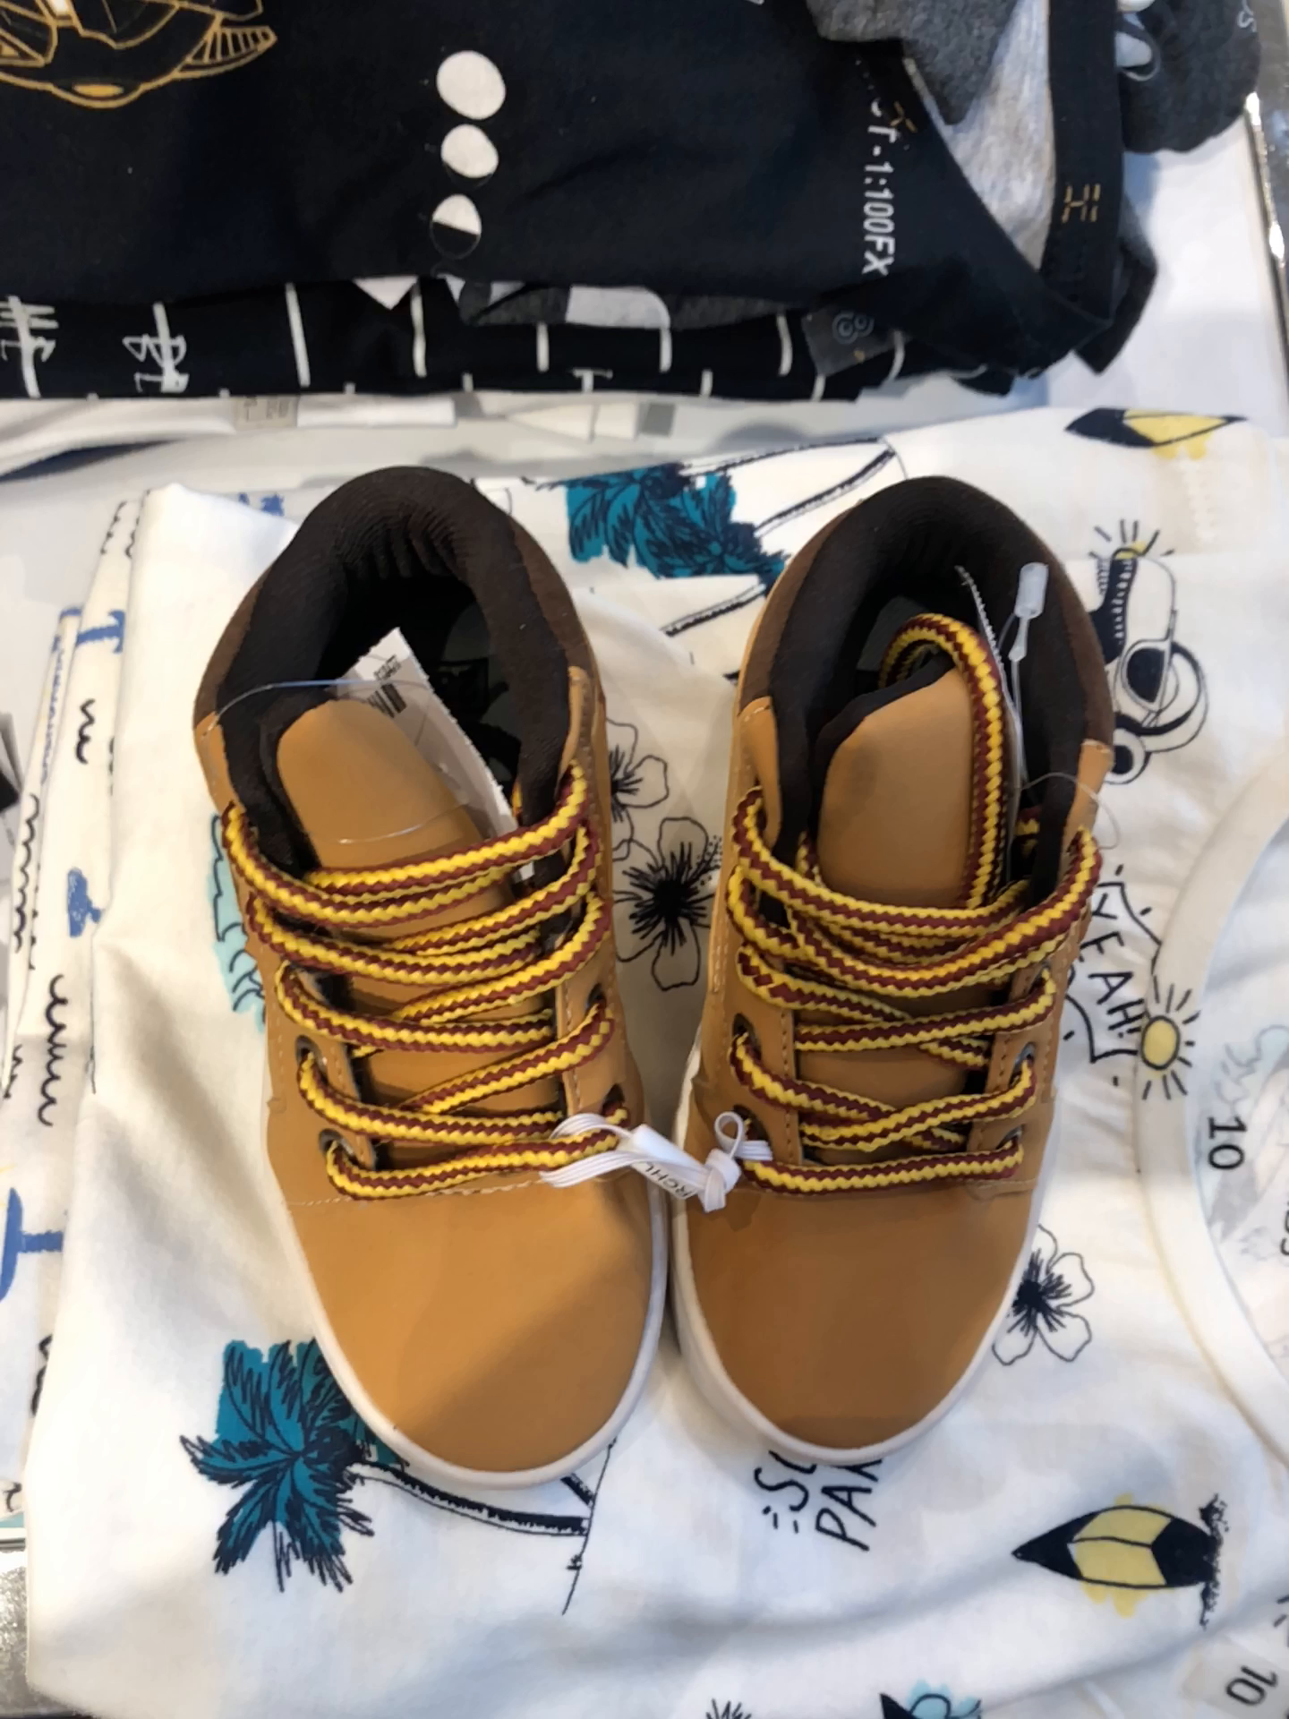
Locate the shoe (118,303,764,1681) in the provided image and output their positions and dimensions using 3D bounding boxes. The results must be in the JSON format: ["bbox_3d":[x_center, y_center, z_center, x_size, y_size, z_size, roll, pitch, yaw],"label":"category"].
[{"bbox_3d":[-0.031,0.016,0.229,0.070,0.090,0.170,-5,82,-4],"label":"shoe"}]

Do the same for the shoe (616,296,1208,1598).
[{"bbox_3d":[0.038,0.013,0.237,0.070,0.090,0.170,5,80,-2],"label":"shoe"}]
